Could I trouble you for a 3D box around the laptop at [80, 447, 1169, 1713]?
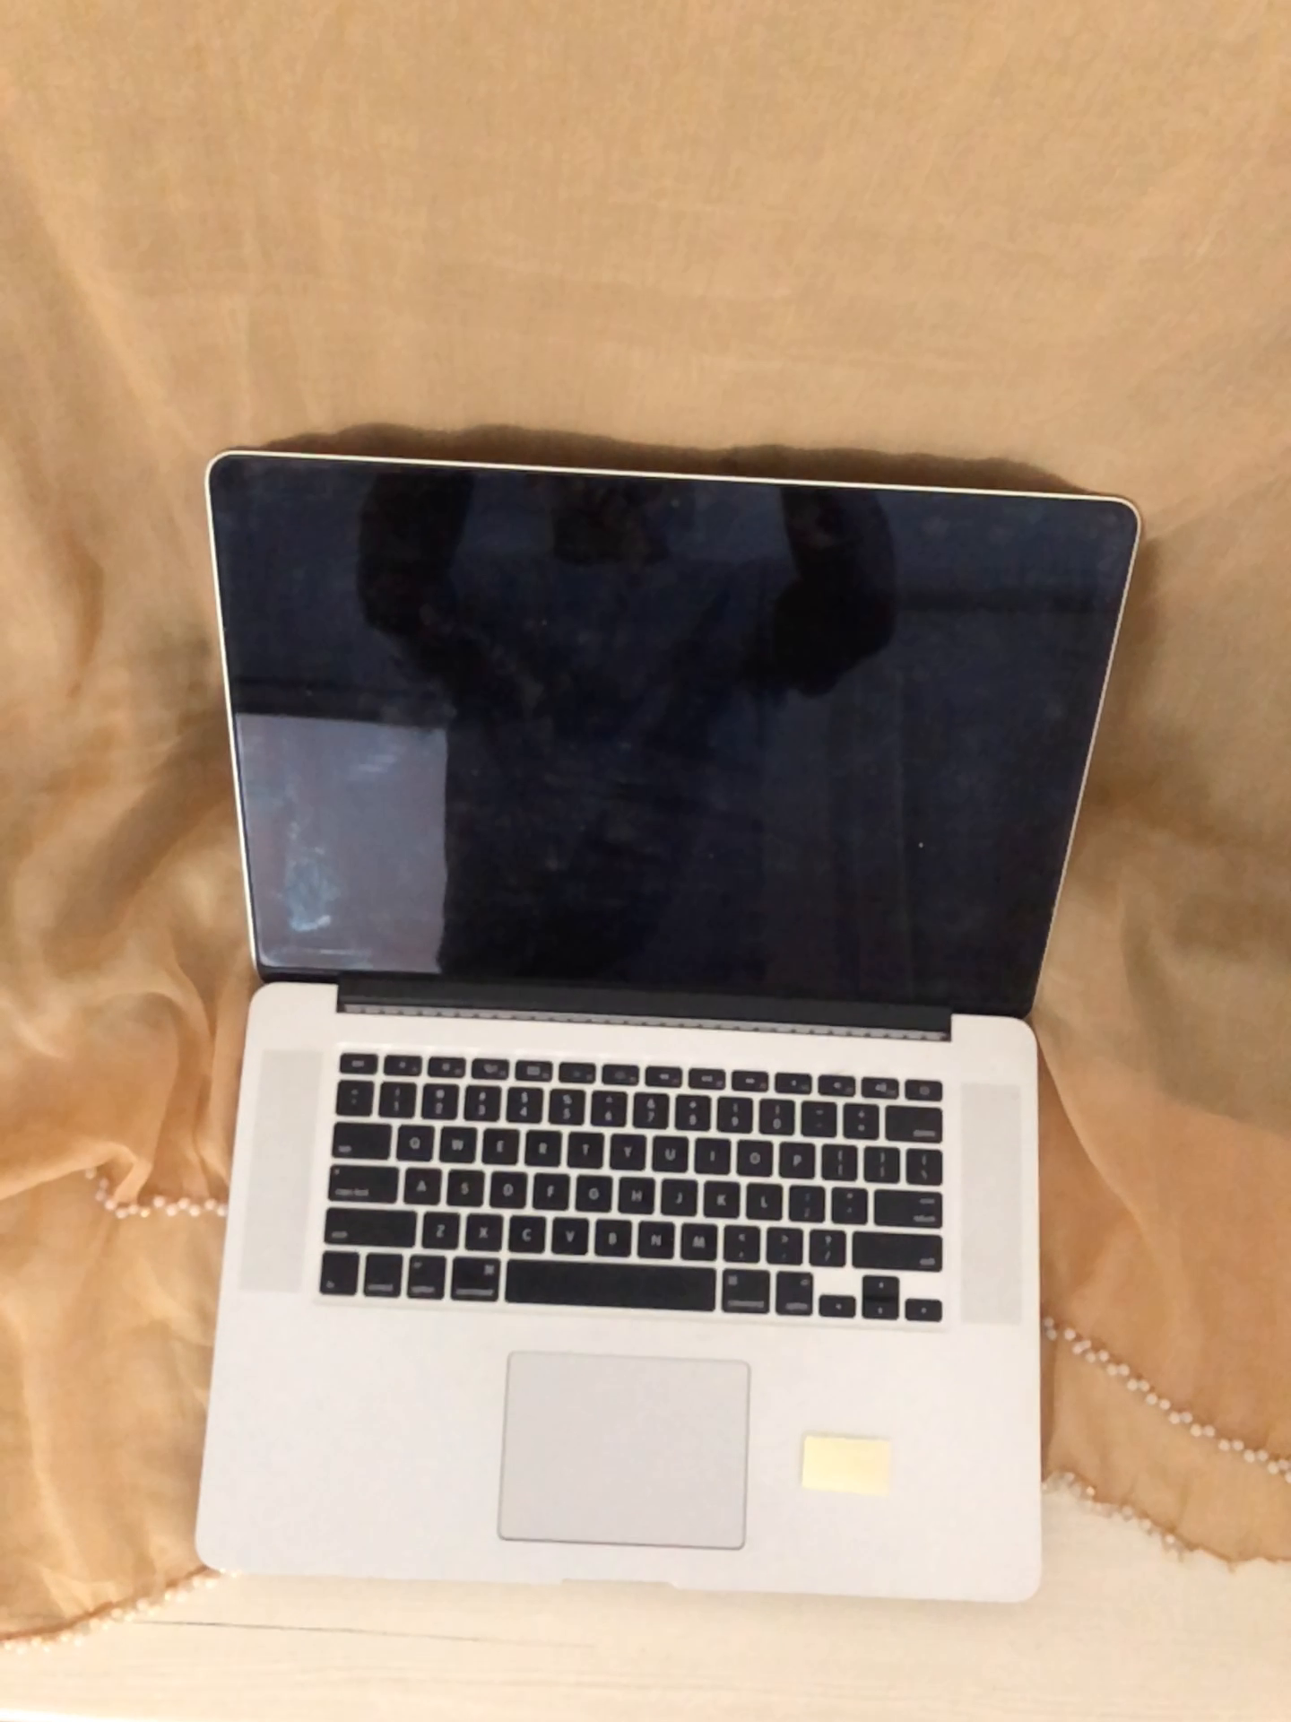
[{"bbox_3d":[0.002,0.069,0.543,0.336,0.135,0.405,3,80,-1],"label":"laptop"}]
